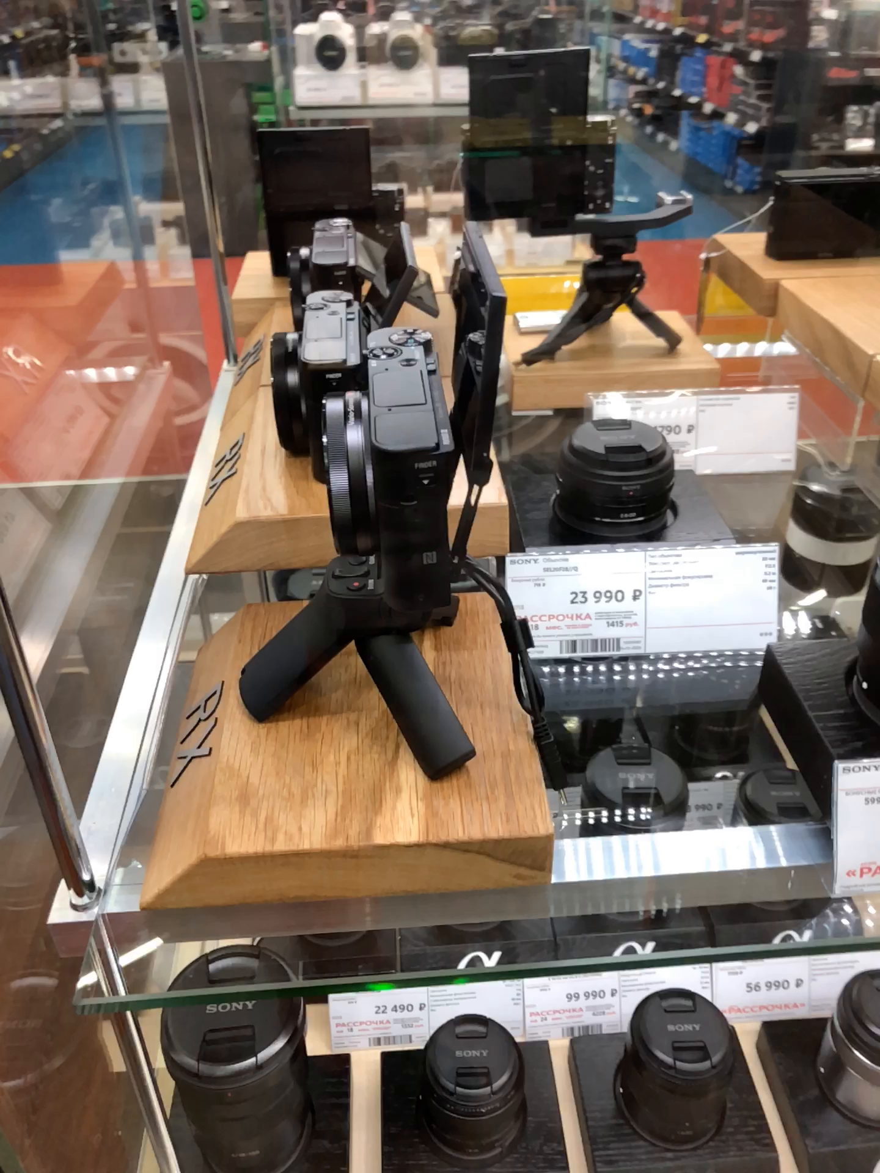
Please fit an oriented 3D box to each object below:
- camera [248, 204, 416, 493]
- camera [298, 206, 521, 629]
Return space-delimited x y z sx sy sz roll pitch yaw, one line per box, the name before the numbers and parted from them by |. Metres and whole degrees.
camera | -0.047 -0.115 0.461 0.065 0.102 0.103 -3 34 -3
camera | -0.010 -0.059 0.320 0.057 0.102 0.103 -3 34 -3
